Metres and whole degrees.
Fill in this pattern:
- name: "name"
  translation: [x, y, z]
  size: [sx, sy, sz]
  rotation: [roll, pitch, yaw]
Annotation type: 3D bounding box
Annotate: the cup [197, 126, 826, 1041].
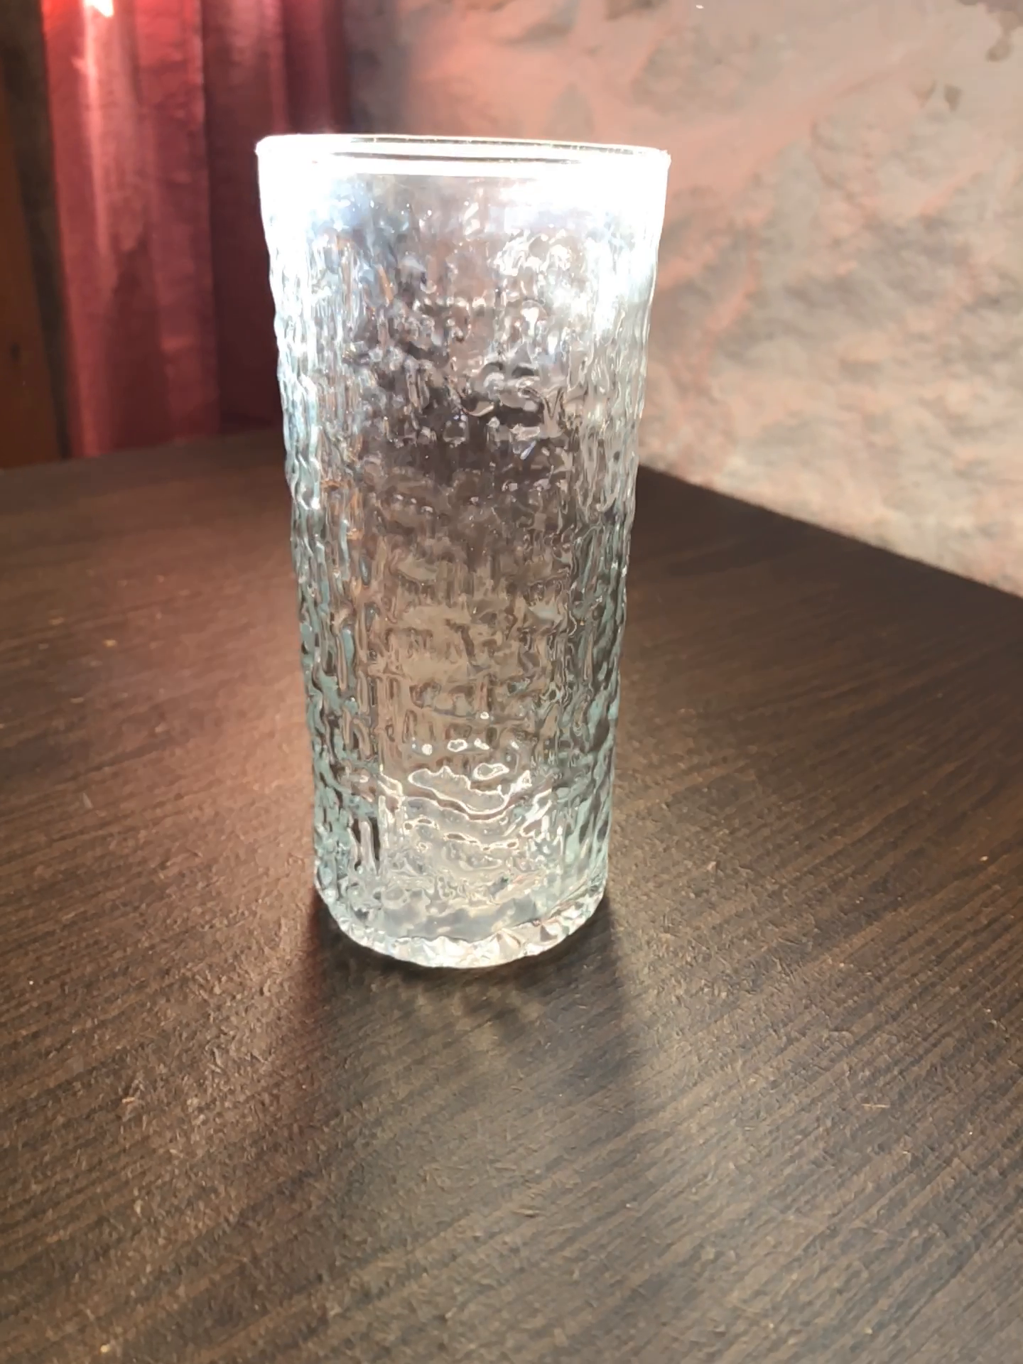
- name: "cup"
  translation: [-0.006, -0.022, 0.199]
  size: [0.068, 0.130, 0.070]
  rotation: [2, 25, -1]
